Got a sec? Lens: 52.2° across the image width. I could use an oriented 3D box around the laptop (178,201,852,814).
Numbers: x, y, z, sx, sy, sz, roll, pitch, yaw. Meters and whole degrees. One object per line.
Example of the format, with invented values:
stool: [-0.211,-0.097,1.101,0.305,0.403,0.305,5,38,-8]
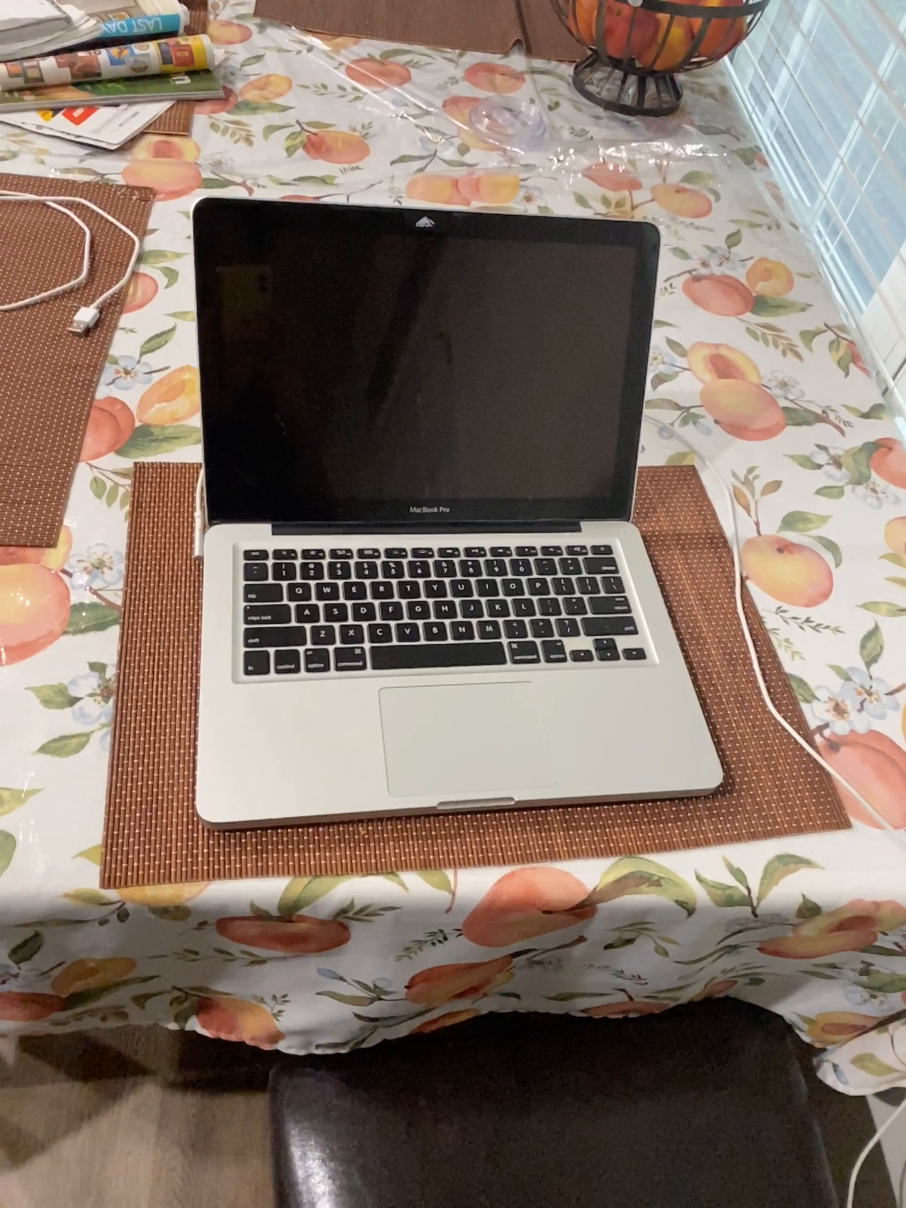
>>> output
laptop: [0.006,-0.077,0.588,0.317,0.162,0.350,-2,54,-10]
